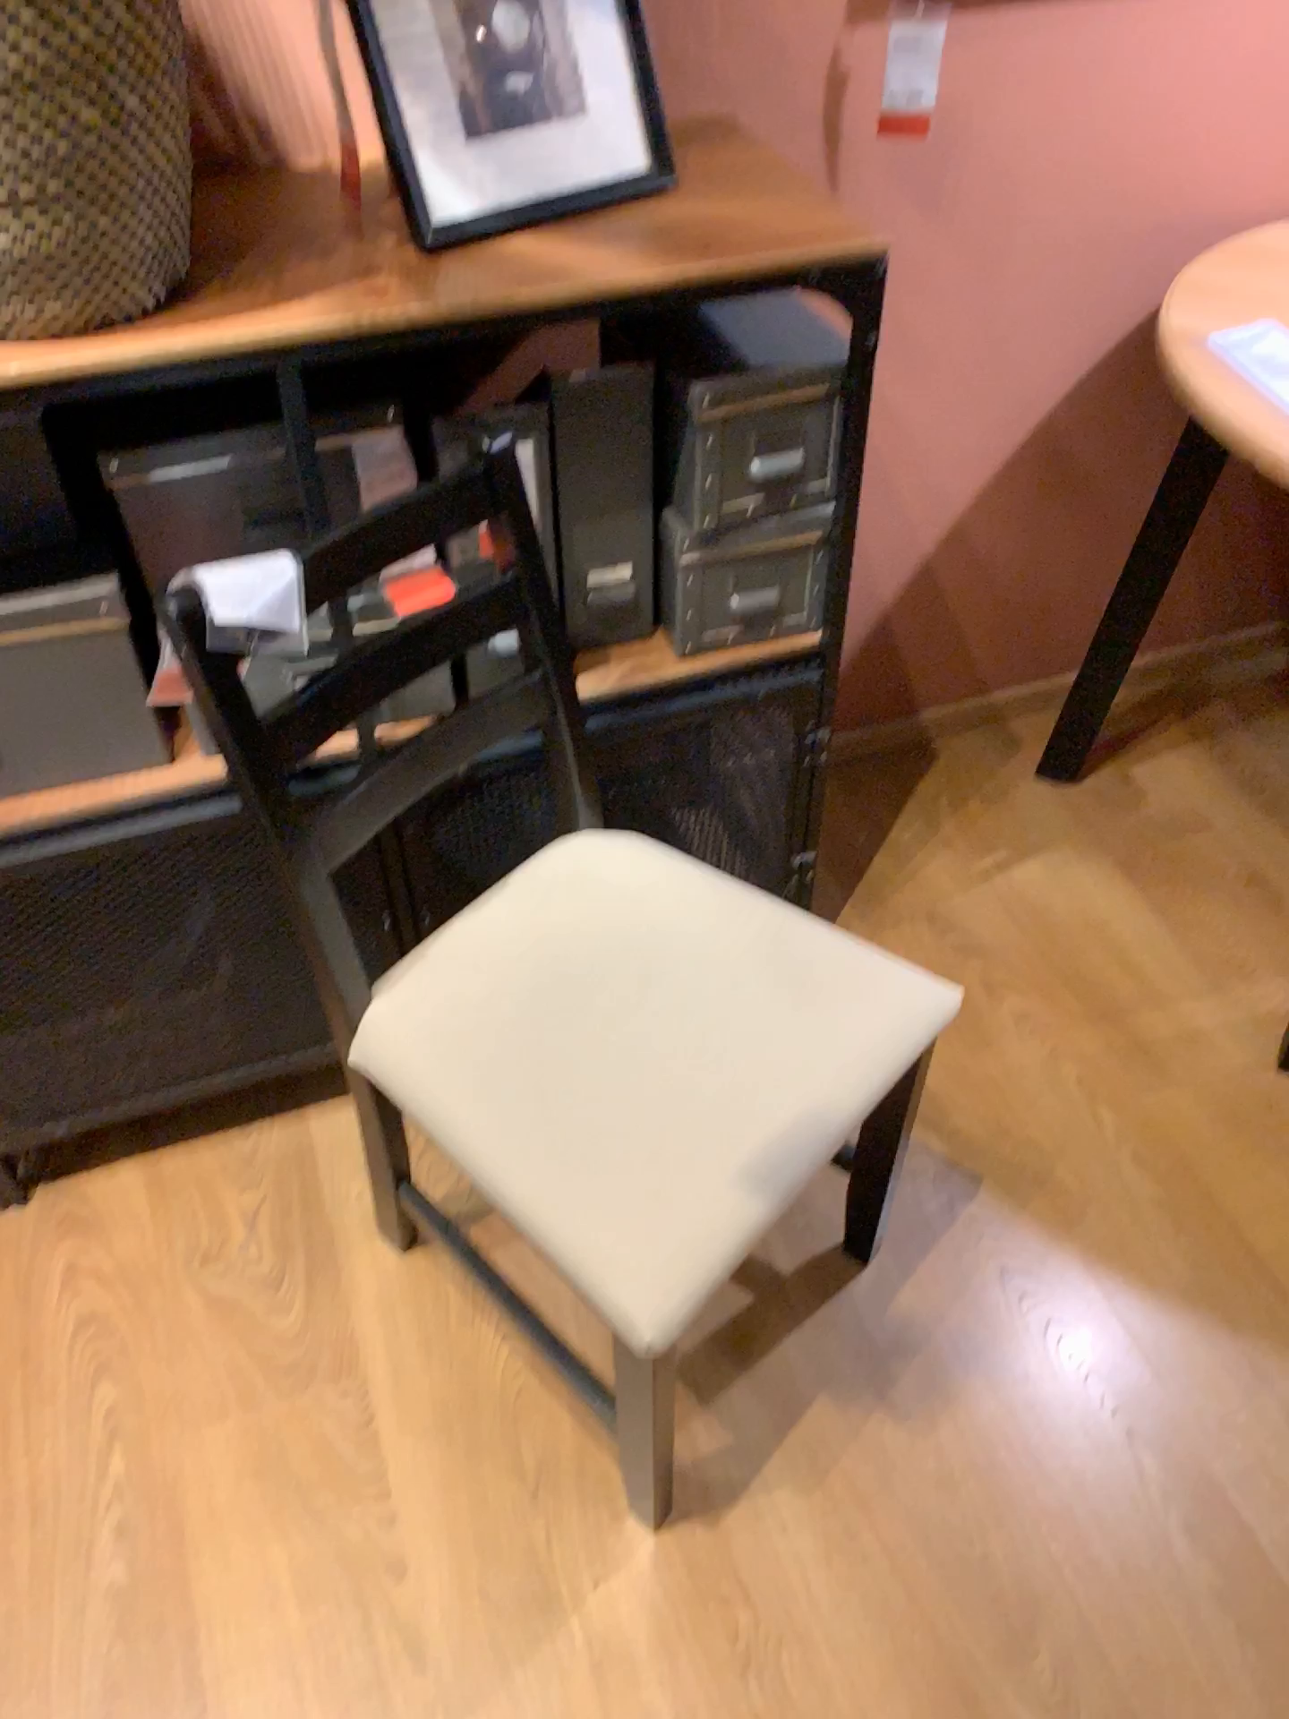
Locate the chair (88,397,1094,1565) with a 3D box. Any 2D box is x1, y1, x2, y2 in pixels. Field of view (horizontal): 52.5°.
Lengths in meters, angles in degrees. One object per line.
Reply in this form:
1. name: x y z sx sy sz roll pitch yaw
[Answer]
1. chair: -0.035 0.132 1.124 0.501 0.797 0.411 32 54 28
